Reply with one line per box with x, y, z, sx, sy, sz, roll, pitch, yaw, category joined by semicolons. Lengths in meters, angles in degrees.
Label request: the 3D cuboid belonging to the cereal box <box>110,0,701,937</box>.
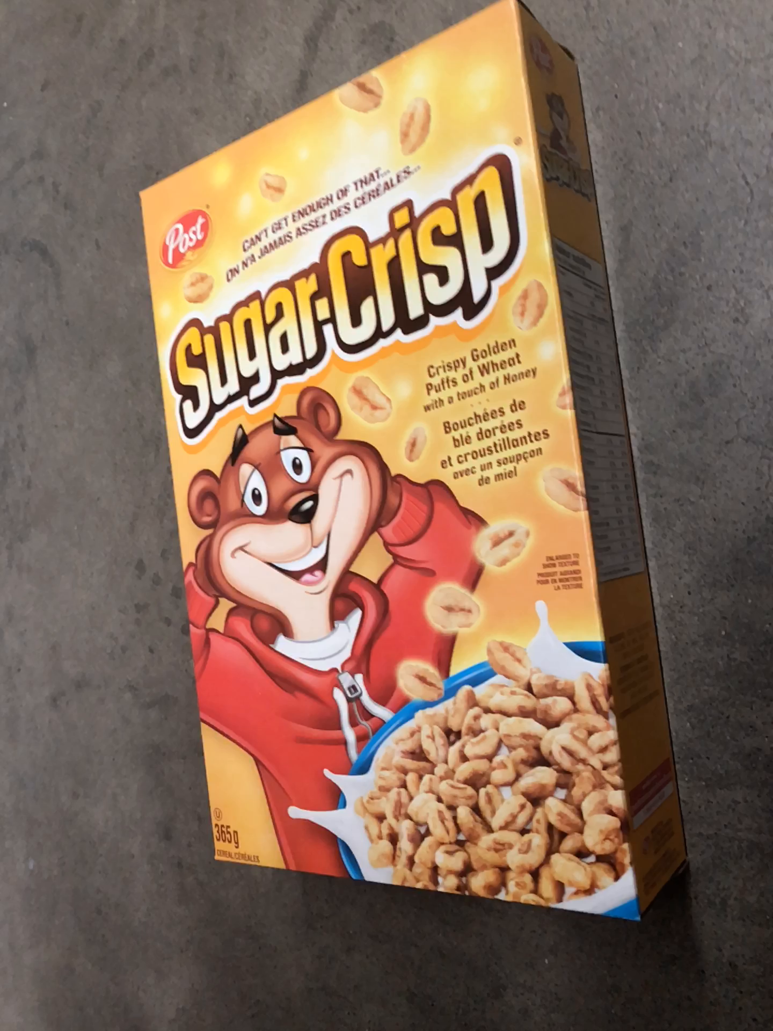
-0.006;-0.013;0.340;0.201;0.060;0.300;-9;87;36;cereal box
